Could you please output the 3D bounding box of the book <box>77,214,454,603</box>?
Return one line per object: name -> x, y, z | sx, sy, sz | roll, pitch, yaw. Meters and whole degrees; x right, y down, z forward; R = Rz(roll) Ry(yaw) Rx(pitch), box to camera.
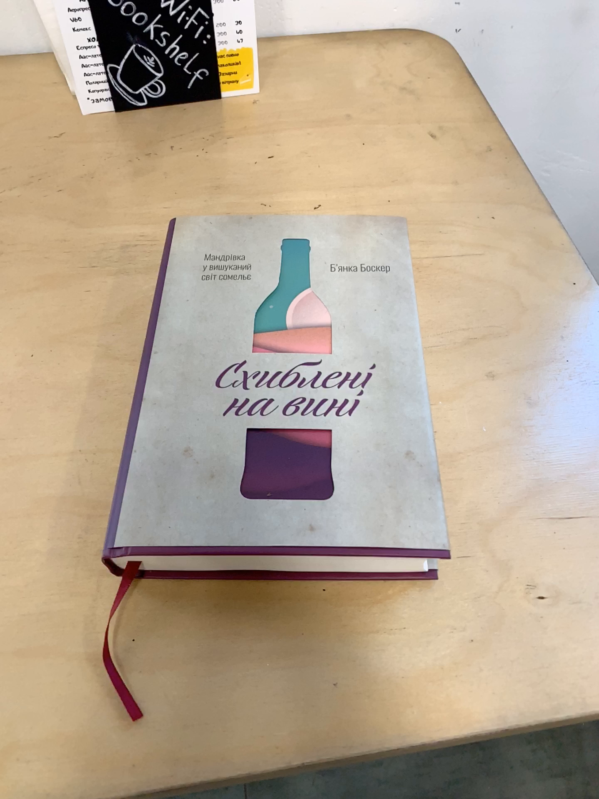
book -> -0.012, -0.008, 0.328 | 0.150, 0.050, 0.214 | 1, 54, 0
